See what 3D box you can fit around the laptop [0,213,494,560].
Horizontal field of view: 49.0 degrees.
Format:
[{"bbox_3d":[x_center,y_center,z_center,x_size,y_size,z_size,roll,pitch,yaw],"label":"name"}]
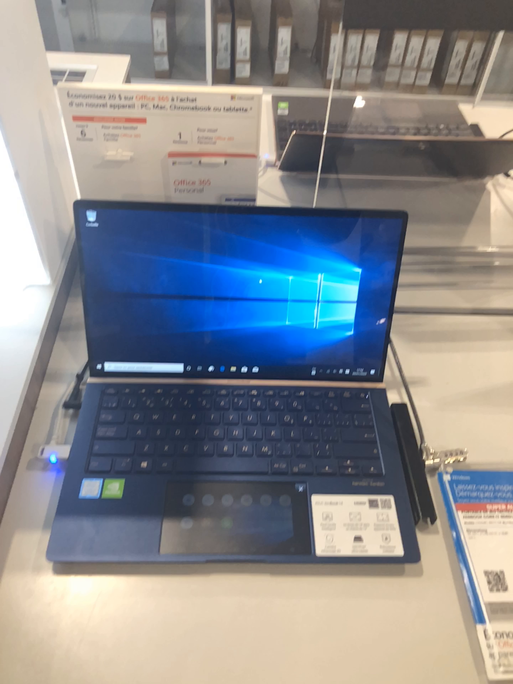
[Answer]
[{"bbox_3d":[-0.015,0.034,0.497,0.308,0.179,0.254,1,45,-3],"label":"laptop"}]
